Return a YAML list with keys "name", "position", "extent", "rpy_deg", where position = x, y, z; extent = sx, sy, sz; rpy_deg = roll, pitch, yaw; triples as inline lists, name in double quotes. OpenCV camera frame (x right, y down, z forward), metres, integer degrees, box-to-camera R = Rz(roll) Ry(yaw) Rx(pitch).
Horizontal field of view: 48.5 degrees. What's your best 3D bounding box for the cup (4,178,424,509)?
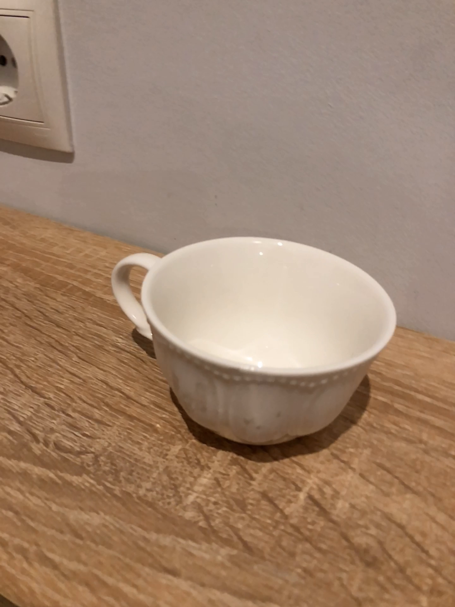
- name: "cup"
  position: [-0.001, 0.004, 0.152]
  extent: [0.100, 0.050, 0.060]
  rpy_deg: [15, 34, 17]
